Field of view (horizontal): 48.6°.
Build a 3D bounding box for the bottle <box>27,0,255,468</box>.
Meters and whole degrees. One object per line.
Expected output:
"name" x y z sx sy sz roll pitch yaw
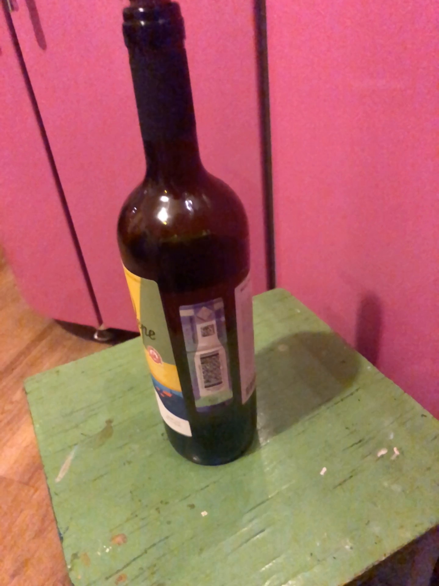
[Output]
"bottle" -0.022 -0.017 0.296 0.071 0.301 0.072 -4 35 3
